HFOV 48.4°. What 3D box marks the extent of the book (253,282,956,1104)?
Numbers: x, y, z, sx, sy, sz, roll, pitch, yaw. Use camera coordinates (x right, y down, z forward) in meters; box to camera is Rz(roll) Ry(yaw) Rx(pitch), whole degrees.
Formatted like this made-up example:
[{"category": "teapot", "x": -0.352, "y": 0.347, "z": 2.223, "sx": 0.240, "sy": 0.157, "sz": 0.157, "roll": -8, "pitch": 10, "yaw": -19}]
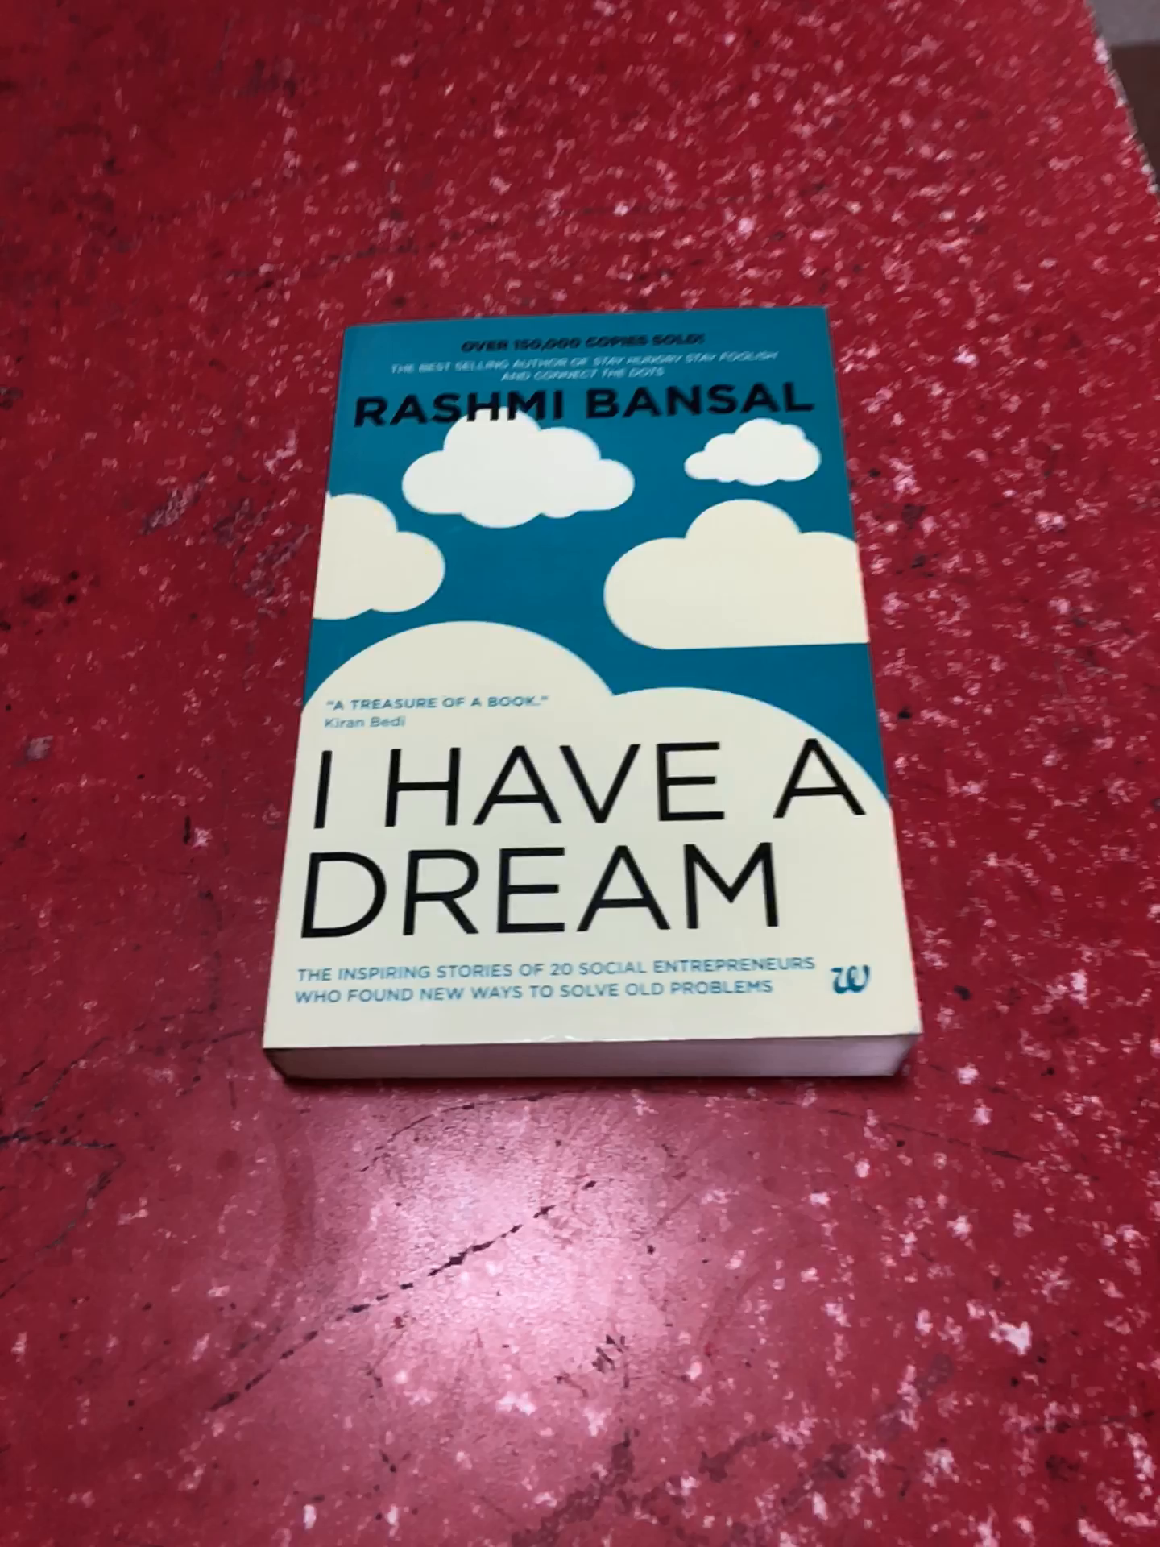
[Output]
[{"category": "book", "x": 0.004, "y": -0.029, "z": 0.299, "sx": 0.130, "sy": 0.030, "sz": 0.200, "roll": -2, "pitch": 62, "yaw": 2}]
